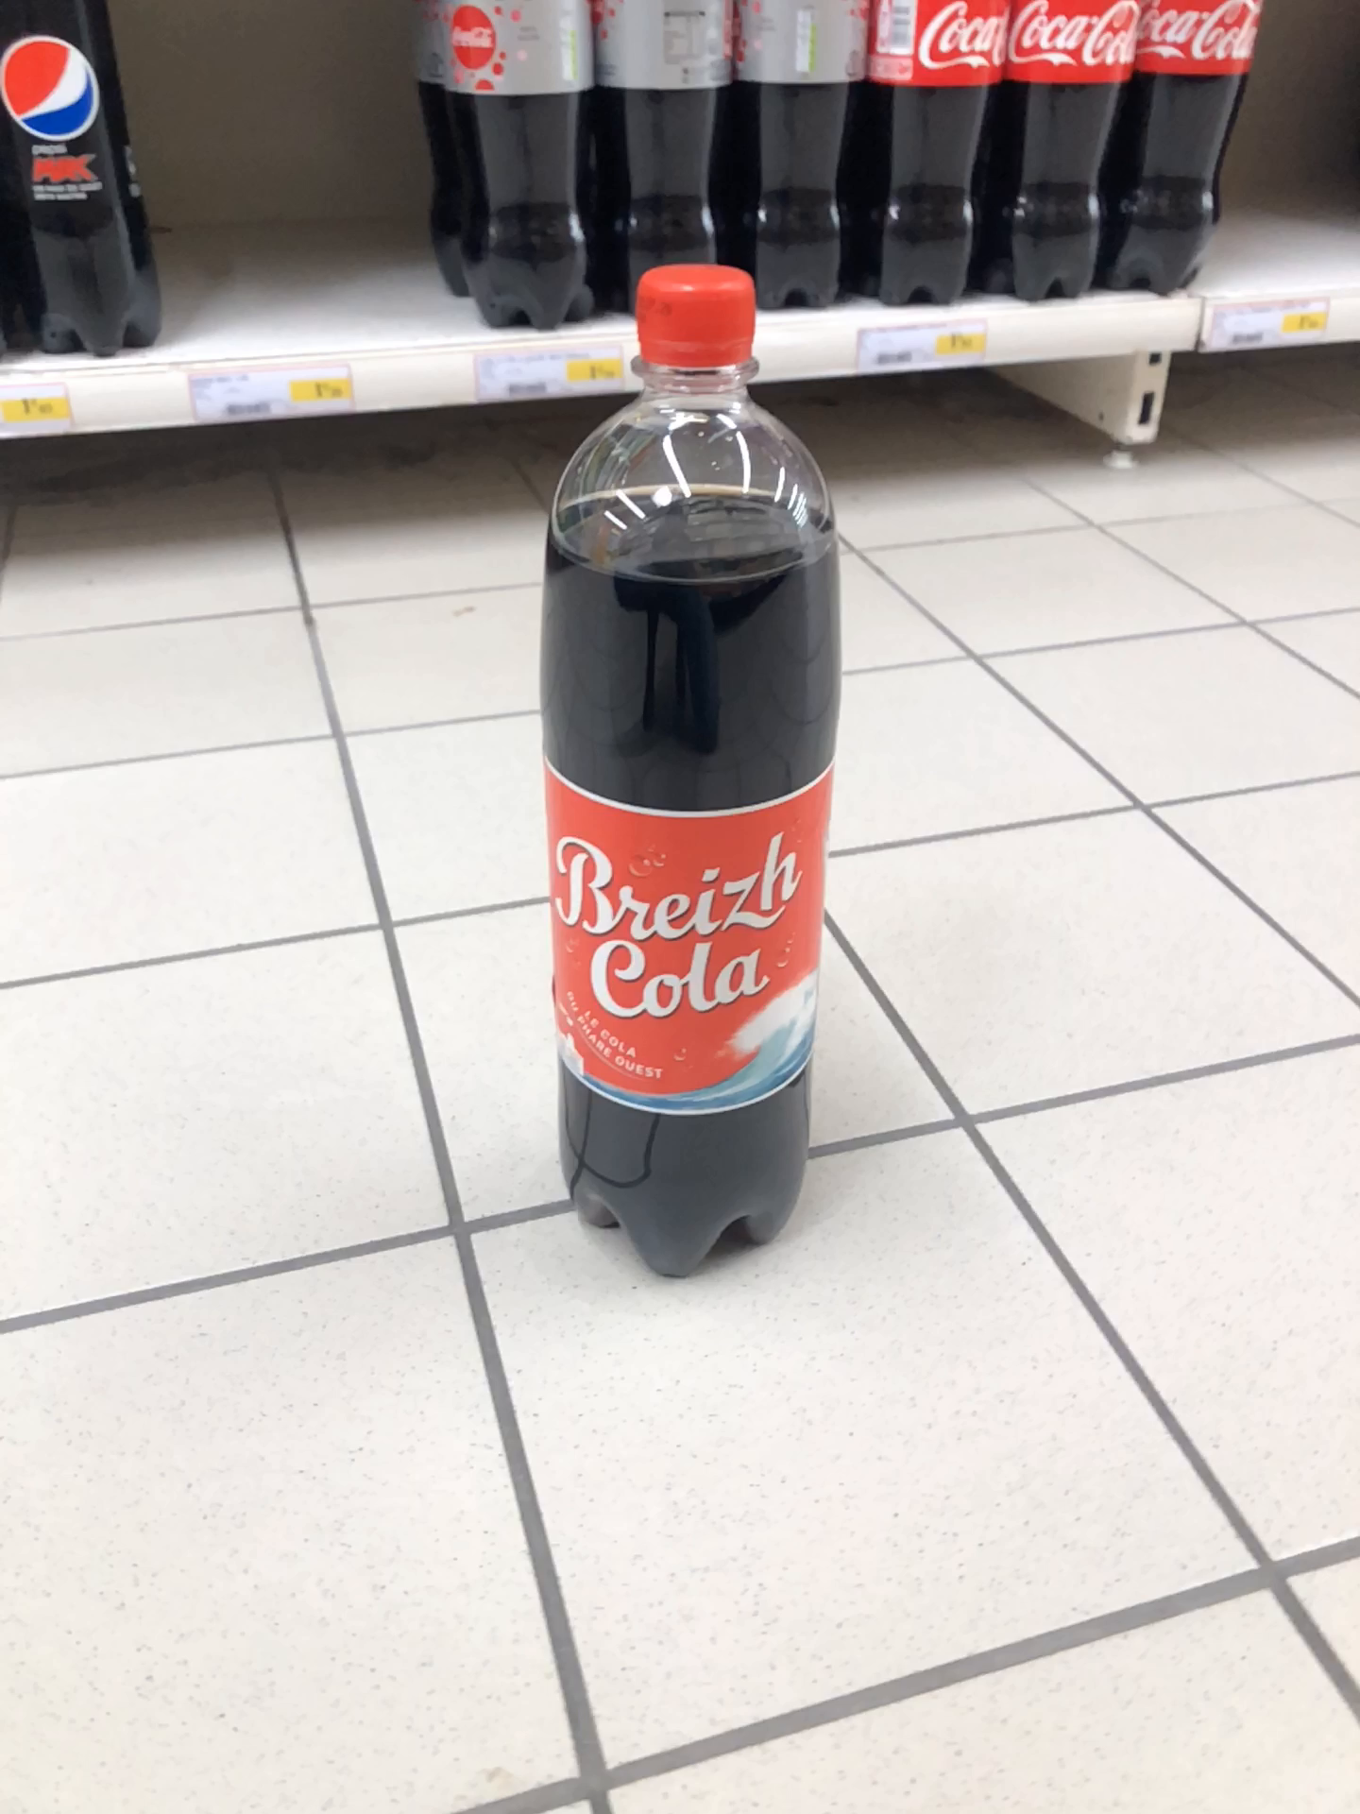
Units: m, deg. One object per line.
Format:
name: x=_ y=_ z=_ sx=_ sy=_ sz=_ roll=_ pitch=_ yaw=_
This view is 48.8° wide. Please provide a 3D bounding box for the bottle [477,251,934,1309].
bottle: x=0.010 y=-0.029 z=0.470 sx=0.100 sy=0.308 sz=0.101 roll=0 pitch=32 yaw=0
